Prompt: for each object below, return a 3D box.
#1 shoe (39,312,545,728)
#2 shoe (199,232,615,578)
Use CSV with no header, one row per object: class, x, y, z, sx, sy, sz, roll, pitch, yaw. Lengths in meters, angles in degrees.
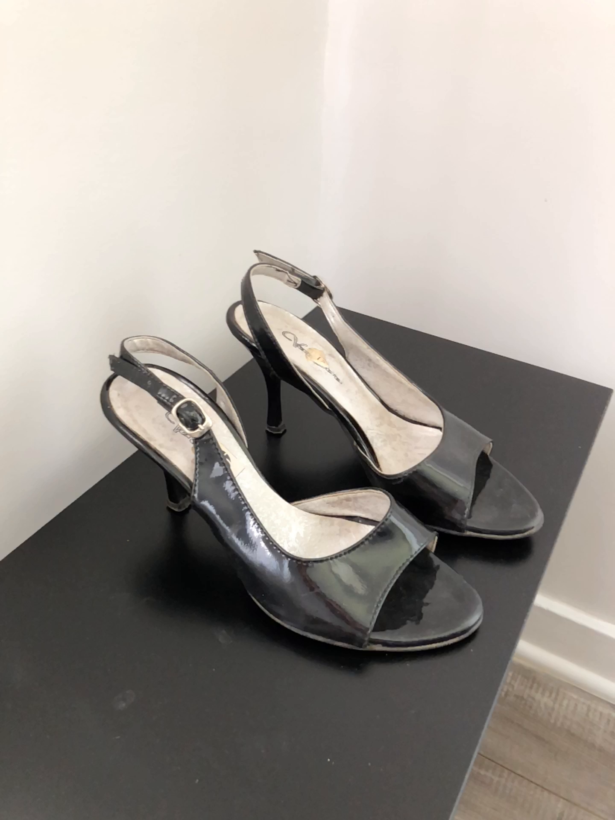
shoe,-0.011,0.044,0.333,0.210,0.110,0.084,18,39,20
shoe,0.048,-0.013,0.394,0.210,0.110,0.083,22,40,24
